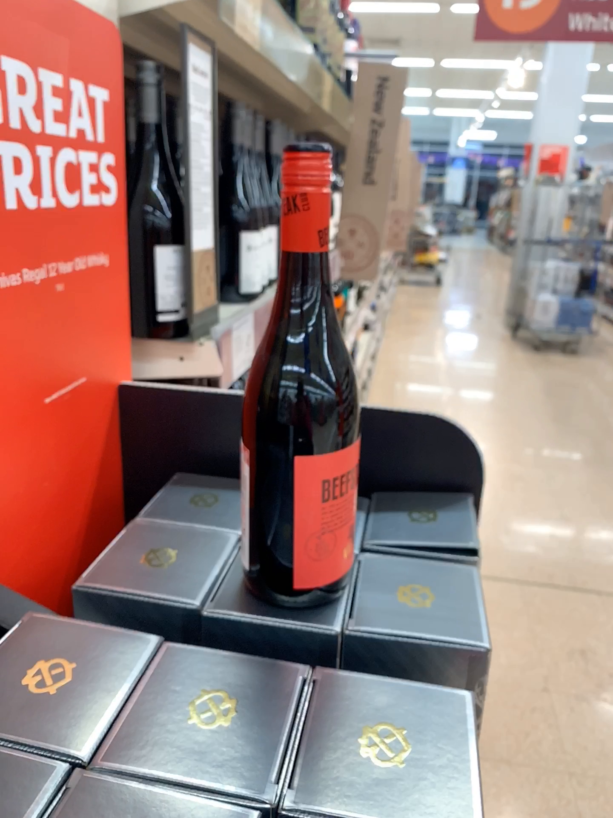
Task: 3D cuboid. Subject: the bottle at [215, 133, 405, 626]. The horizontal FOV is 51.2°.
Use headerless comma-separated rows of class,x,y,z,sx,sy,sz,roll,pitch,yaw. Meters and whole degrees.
bottle,-0.001,-0.018,0.409,0.080,0.284,0.083,3,18,-1
